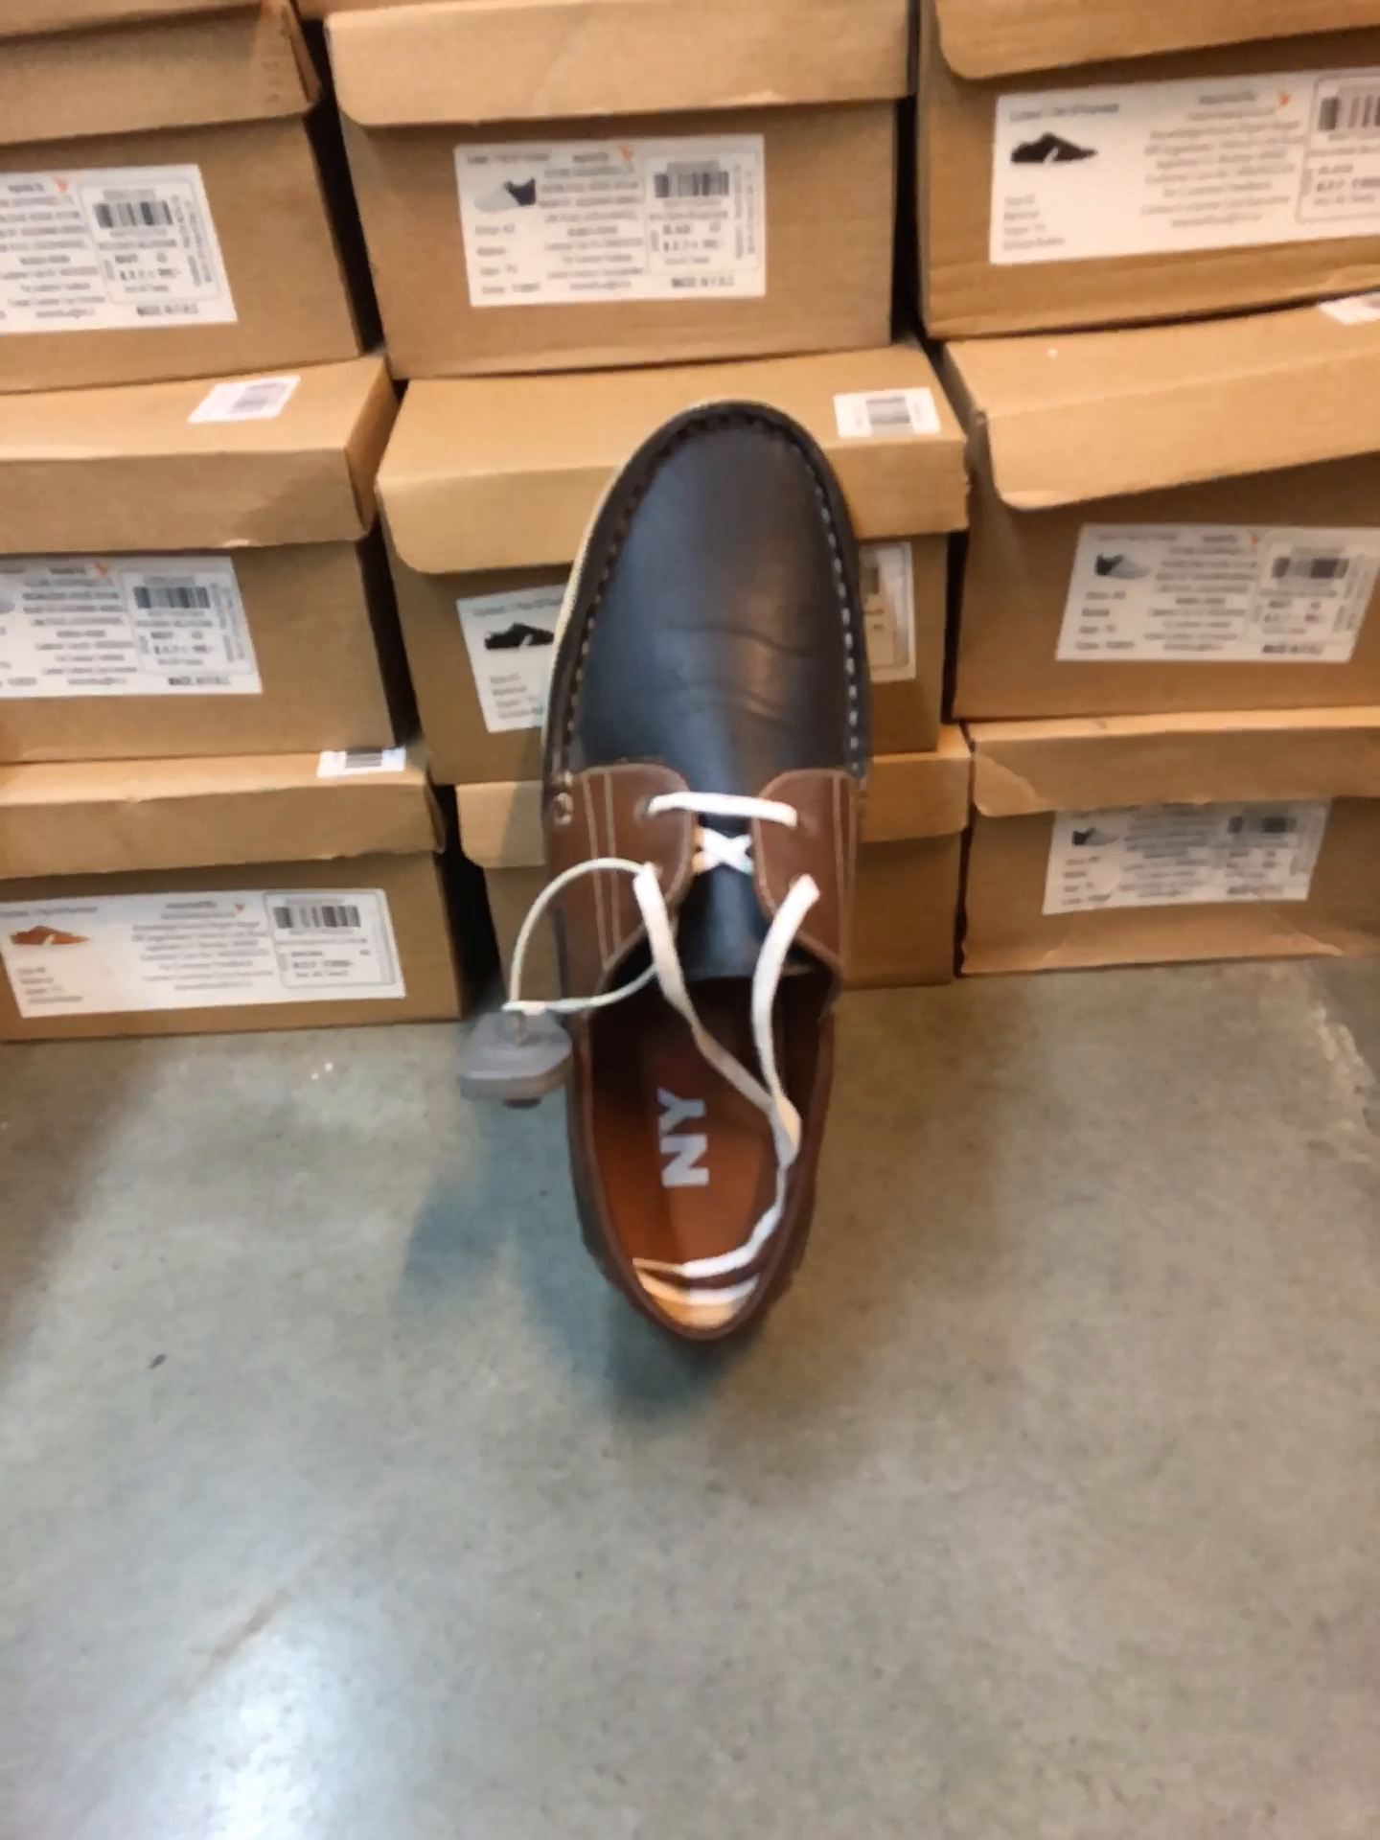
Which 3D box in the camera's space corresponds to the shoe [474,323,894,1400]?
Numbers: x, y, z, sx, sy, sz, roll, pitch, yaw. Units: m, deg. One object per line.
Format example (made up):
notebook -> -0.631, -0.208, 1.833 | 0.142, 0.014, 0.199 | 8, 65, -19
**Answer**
shoe -> 0.001, -0.016, 0.425 | 0.102, 0.264, 0.099 | 1, 2, 4
